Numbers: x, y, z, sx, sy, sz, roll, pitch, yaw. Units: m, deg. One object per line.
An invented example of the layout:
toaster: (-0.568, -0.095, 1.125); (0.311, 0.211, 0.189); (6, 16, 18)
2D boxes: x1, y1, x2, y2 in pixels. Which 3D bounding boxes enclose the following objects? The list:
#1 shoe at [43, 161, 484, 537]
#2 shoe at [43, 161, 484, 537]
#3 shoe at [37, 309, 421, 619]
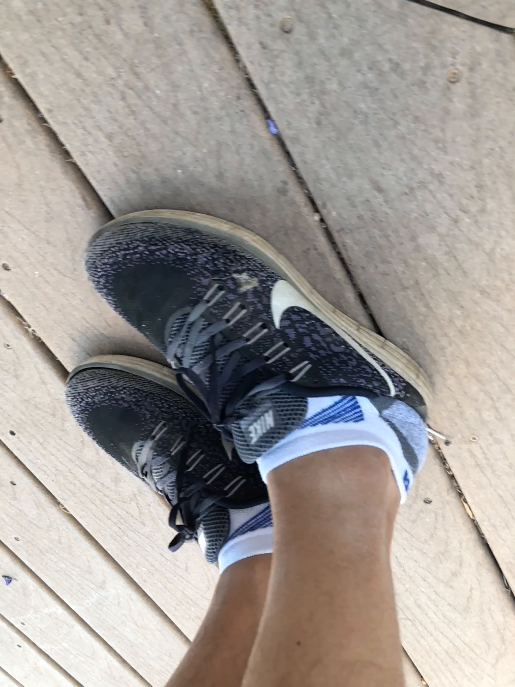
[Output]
shoe: (0.006, 0.005, 0.407); (0.270, 0.100, 0.121); (30, 127, -3)
shoe: (0.006, 0.005, 0.407); (0.270, 0.100, 0.121); (30, 127, -3)
shoe: (-0.024, 0.106, 0.495); (0.300, 0.090, 0.121); (28, 127, -1)
